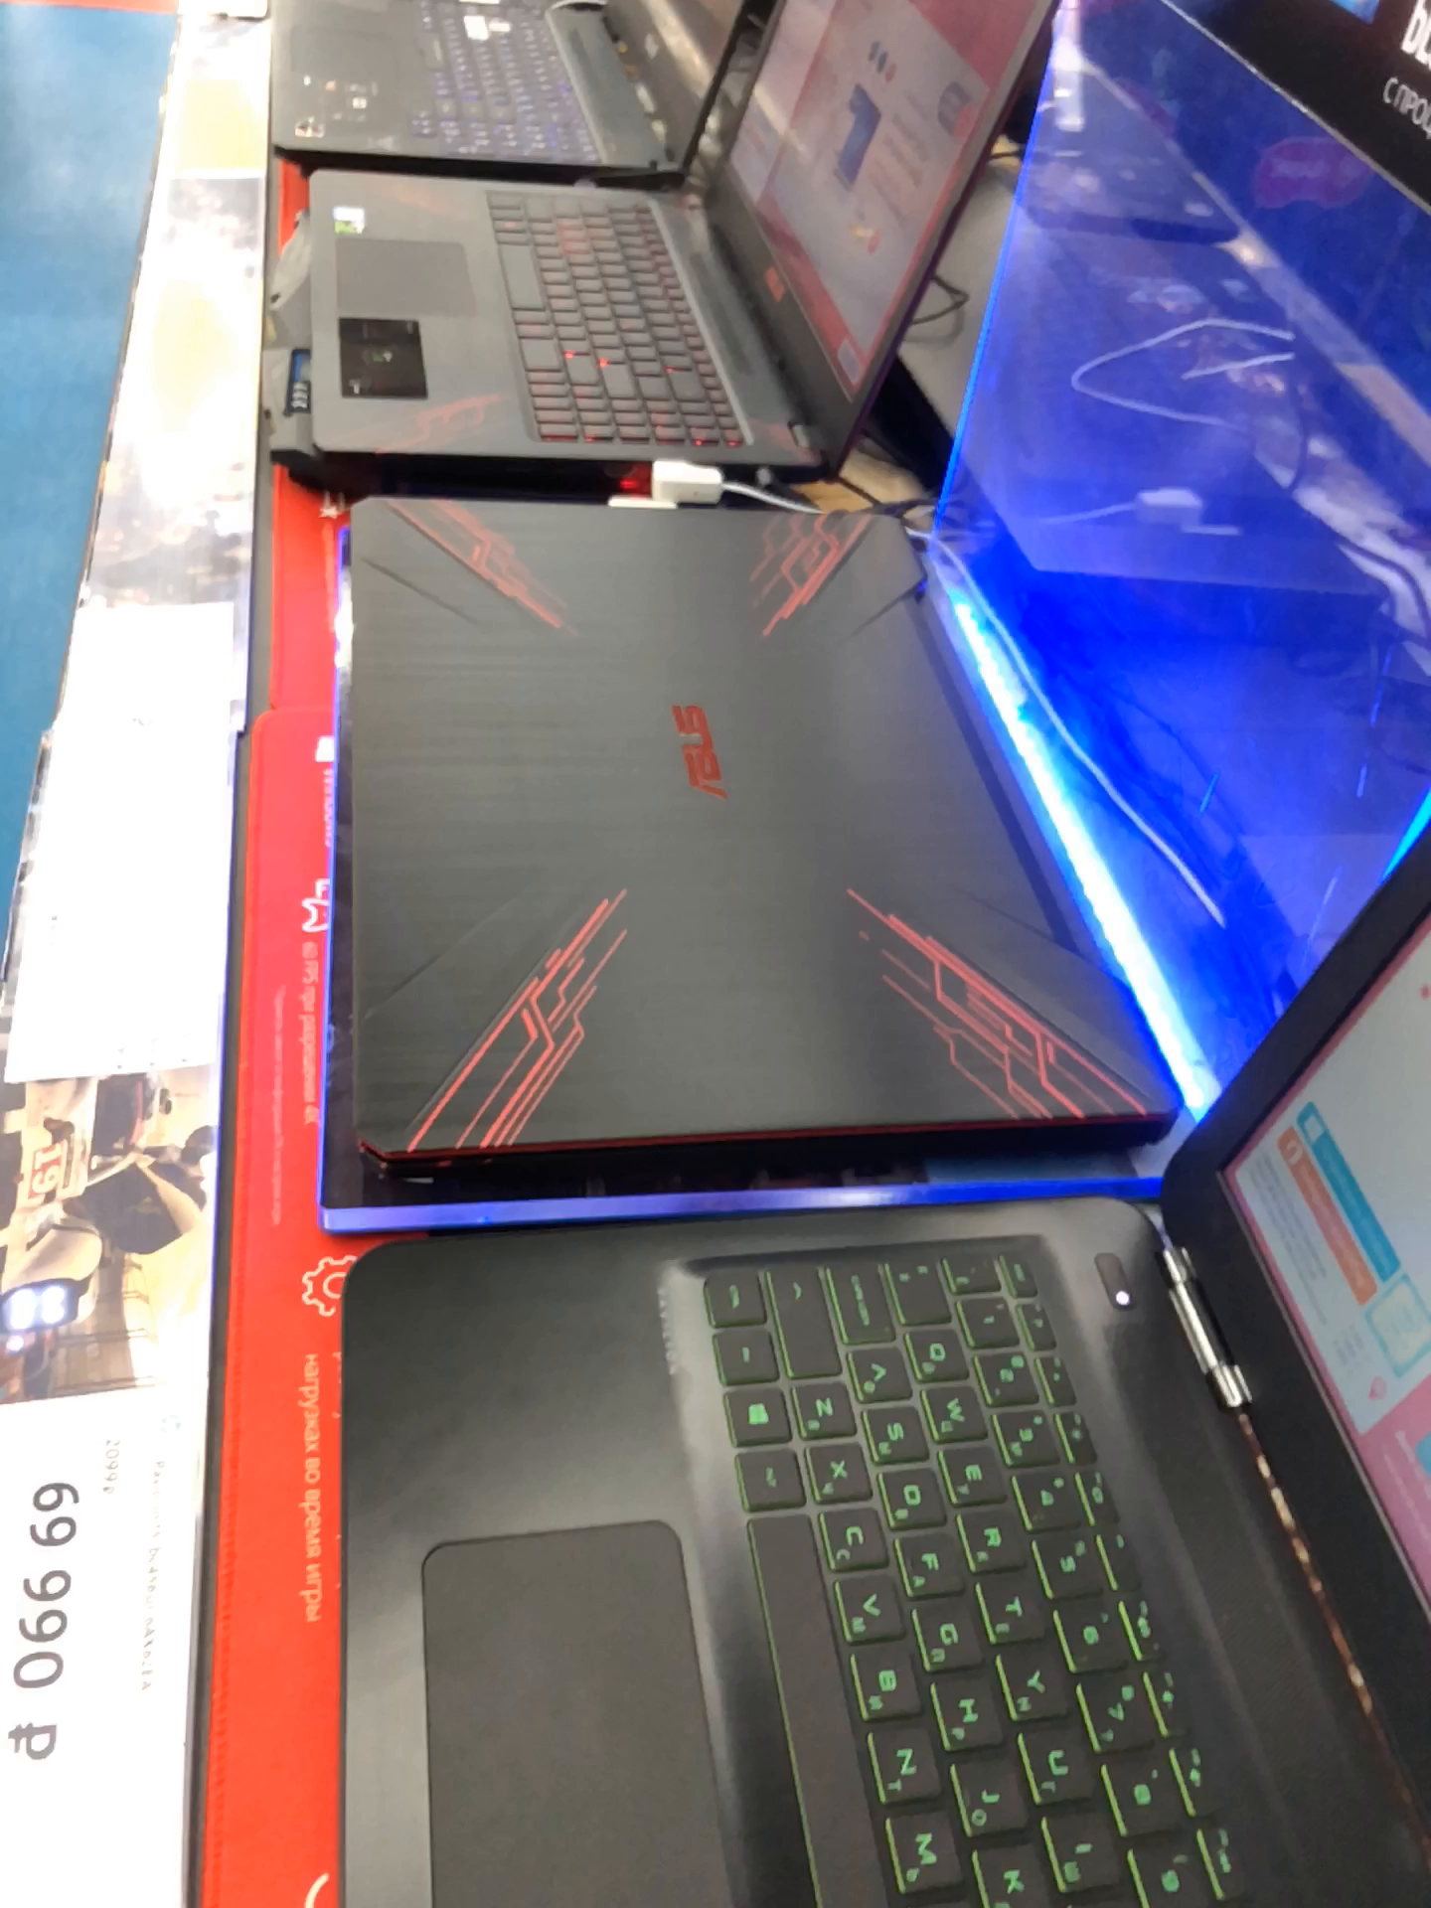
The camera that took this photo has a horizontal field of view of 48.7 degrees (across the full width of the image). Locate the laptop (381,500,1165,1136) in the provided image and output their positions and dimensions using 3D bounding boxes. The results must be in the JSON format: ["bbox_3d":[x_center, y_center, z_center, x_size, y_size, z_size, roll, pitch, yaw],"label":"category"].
[{"bbox_3d":[-0.005,-0.082,0.615,0.243,0.006,0.374,-2,44,-11],"label":"laptop"}]

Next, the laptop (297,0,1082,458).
[{"bbox_3d":[-0.049,-0.465,0.839,0.318,0.231,0.392,-2,44,-13],"label":"laptop"}]

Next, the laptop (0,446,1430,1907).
[{"bbox_3d":[0.082,0.114,0.273,0.292,0.242,0.375,-2,44,-11],"label":"laptop"}]
